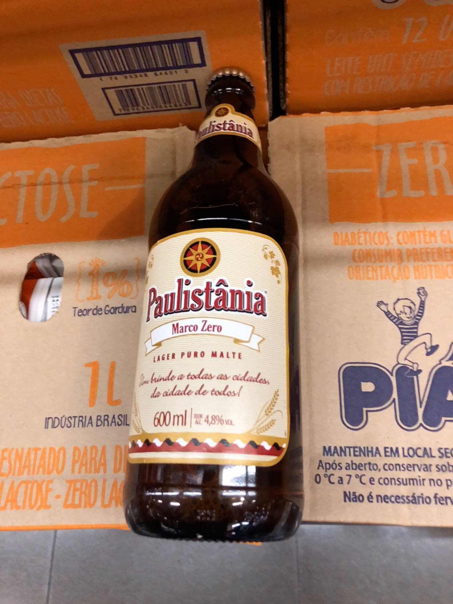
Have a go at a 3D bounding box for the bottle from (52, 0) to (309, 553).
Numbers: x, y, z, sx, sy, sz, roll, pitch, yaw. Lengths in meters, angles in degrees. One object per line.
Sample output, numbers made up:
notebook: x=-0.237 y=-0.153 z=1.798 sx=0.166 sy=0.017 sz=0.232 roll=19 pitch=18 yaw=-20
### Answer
bottle: x=-0.009 y=-0.031 z=0.224 sx=0.080 sy=0.050 sz=0.251 roll=-1 pitch=68 yaw=7
